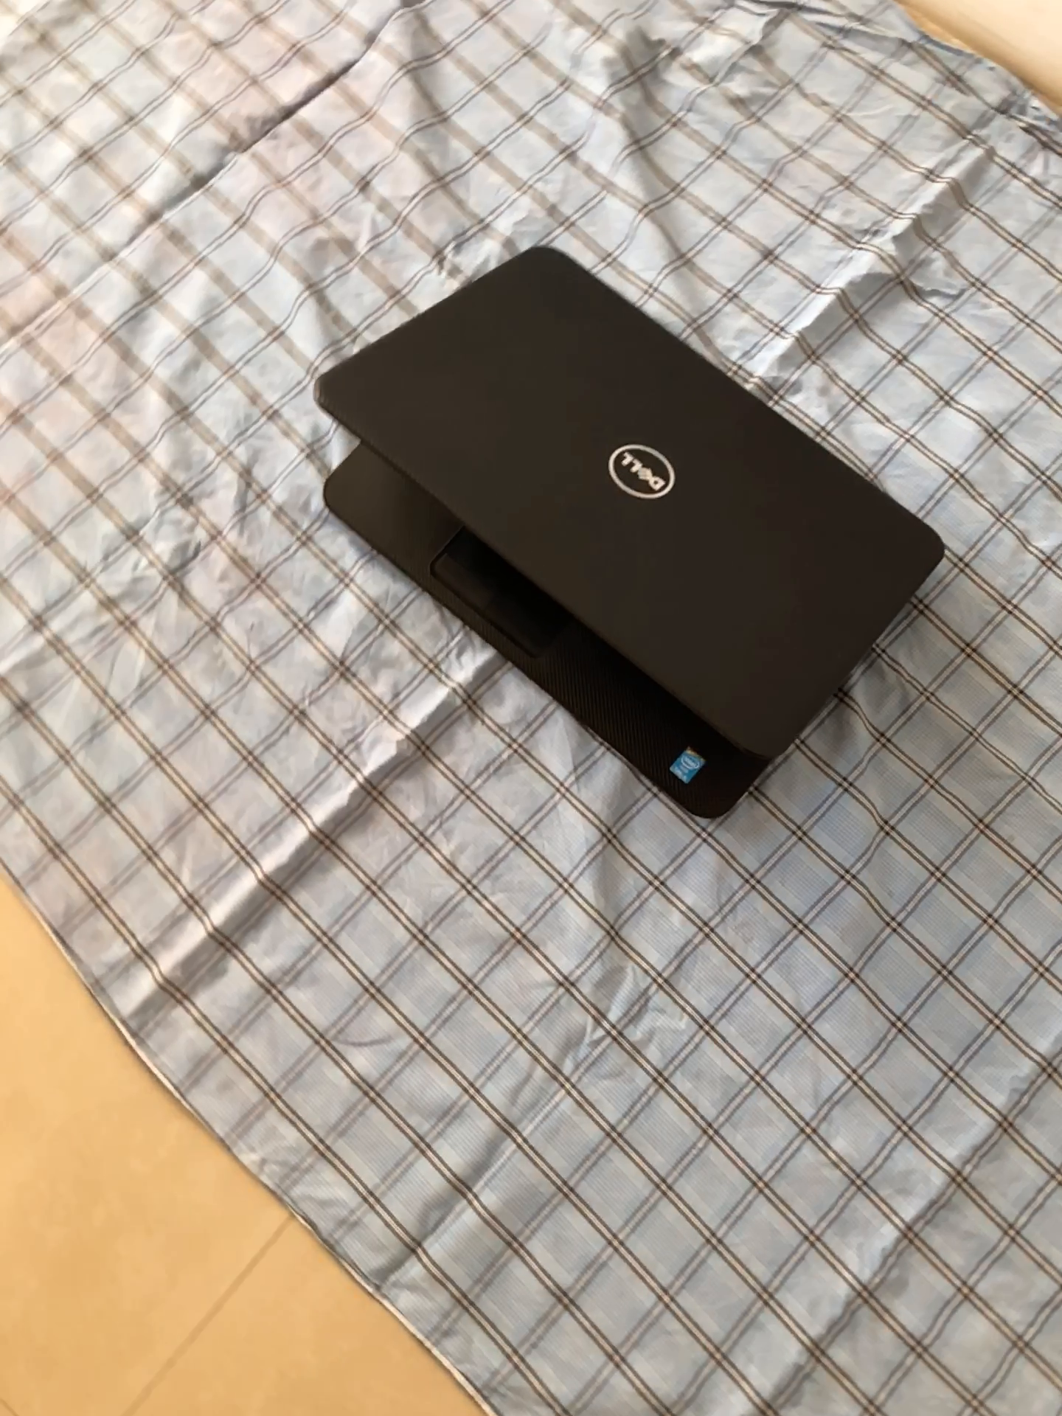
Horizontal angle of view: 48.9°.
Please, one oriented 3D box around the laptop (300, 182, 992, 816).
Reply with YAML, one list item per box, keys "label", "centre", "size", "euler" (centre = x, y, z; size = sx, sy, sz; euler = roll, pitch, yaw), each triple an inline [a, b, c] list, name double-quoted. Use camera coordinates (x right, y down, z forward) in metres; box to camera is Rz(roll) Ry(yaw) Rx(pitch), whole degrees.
- label: "laptop"
  centre: [0.066, -0.133, 0.754]
  size: [0.350, 0.100, 0.223]
  euler: [40, 82, 9]
